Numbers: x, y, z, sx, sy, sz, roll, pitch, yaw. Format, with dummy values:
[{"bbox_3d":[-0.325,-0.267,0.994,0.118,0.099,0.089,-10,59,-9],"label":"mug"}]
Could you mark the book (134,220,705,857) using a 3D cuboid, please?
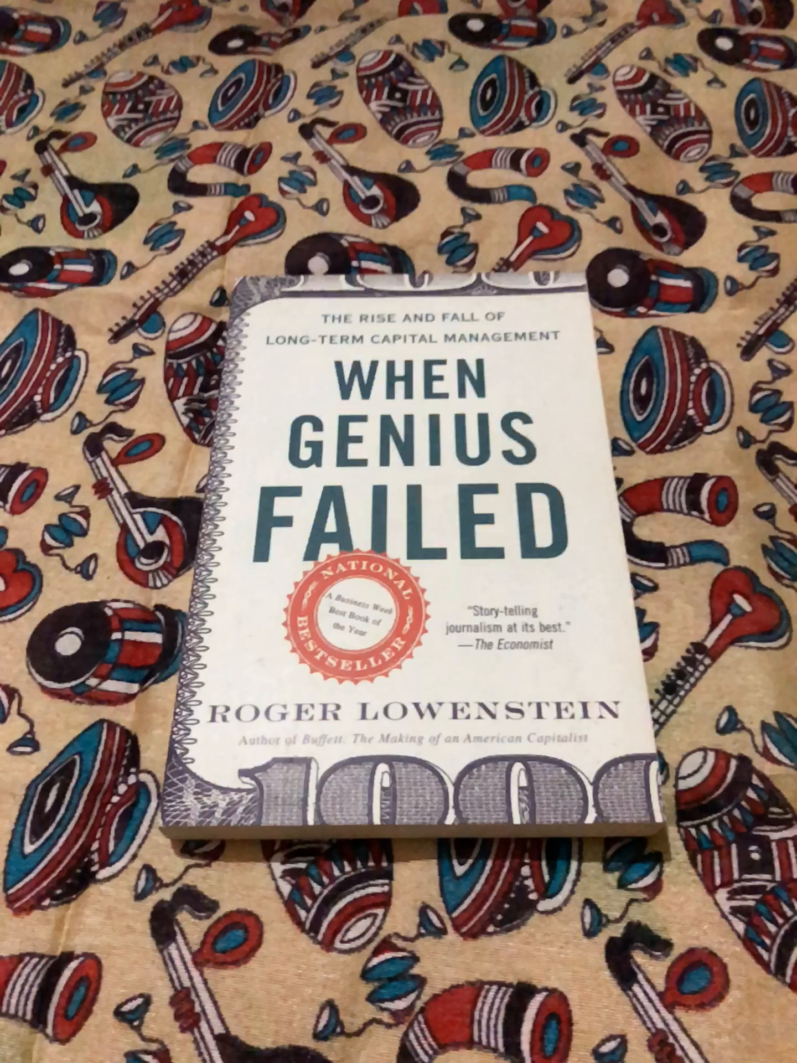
[{"bbox_3d":[0.006,-0.013,0.288,0.140,0.030,0.221,0,59,0],"label":"book"}]
